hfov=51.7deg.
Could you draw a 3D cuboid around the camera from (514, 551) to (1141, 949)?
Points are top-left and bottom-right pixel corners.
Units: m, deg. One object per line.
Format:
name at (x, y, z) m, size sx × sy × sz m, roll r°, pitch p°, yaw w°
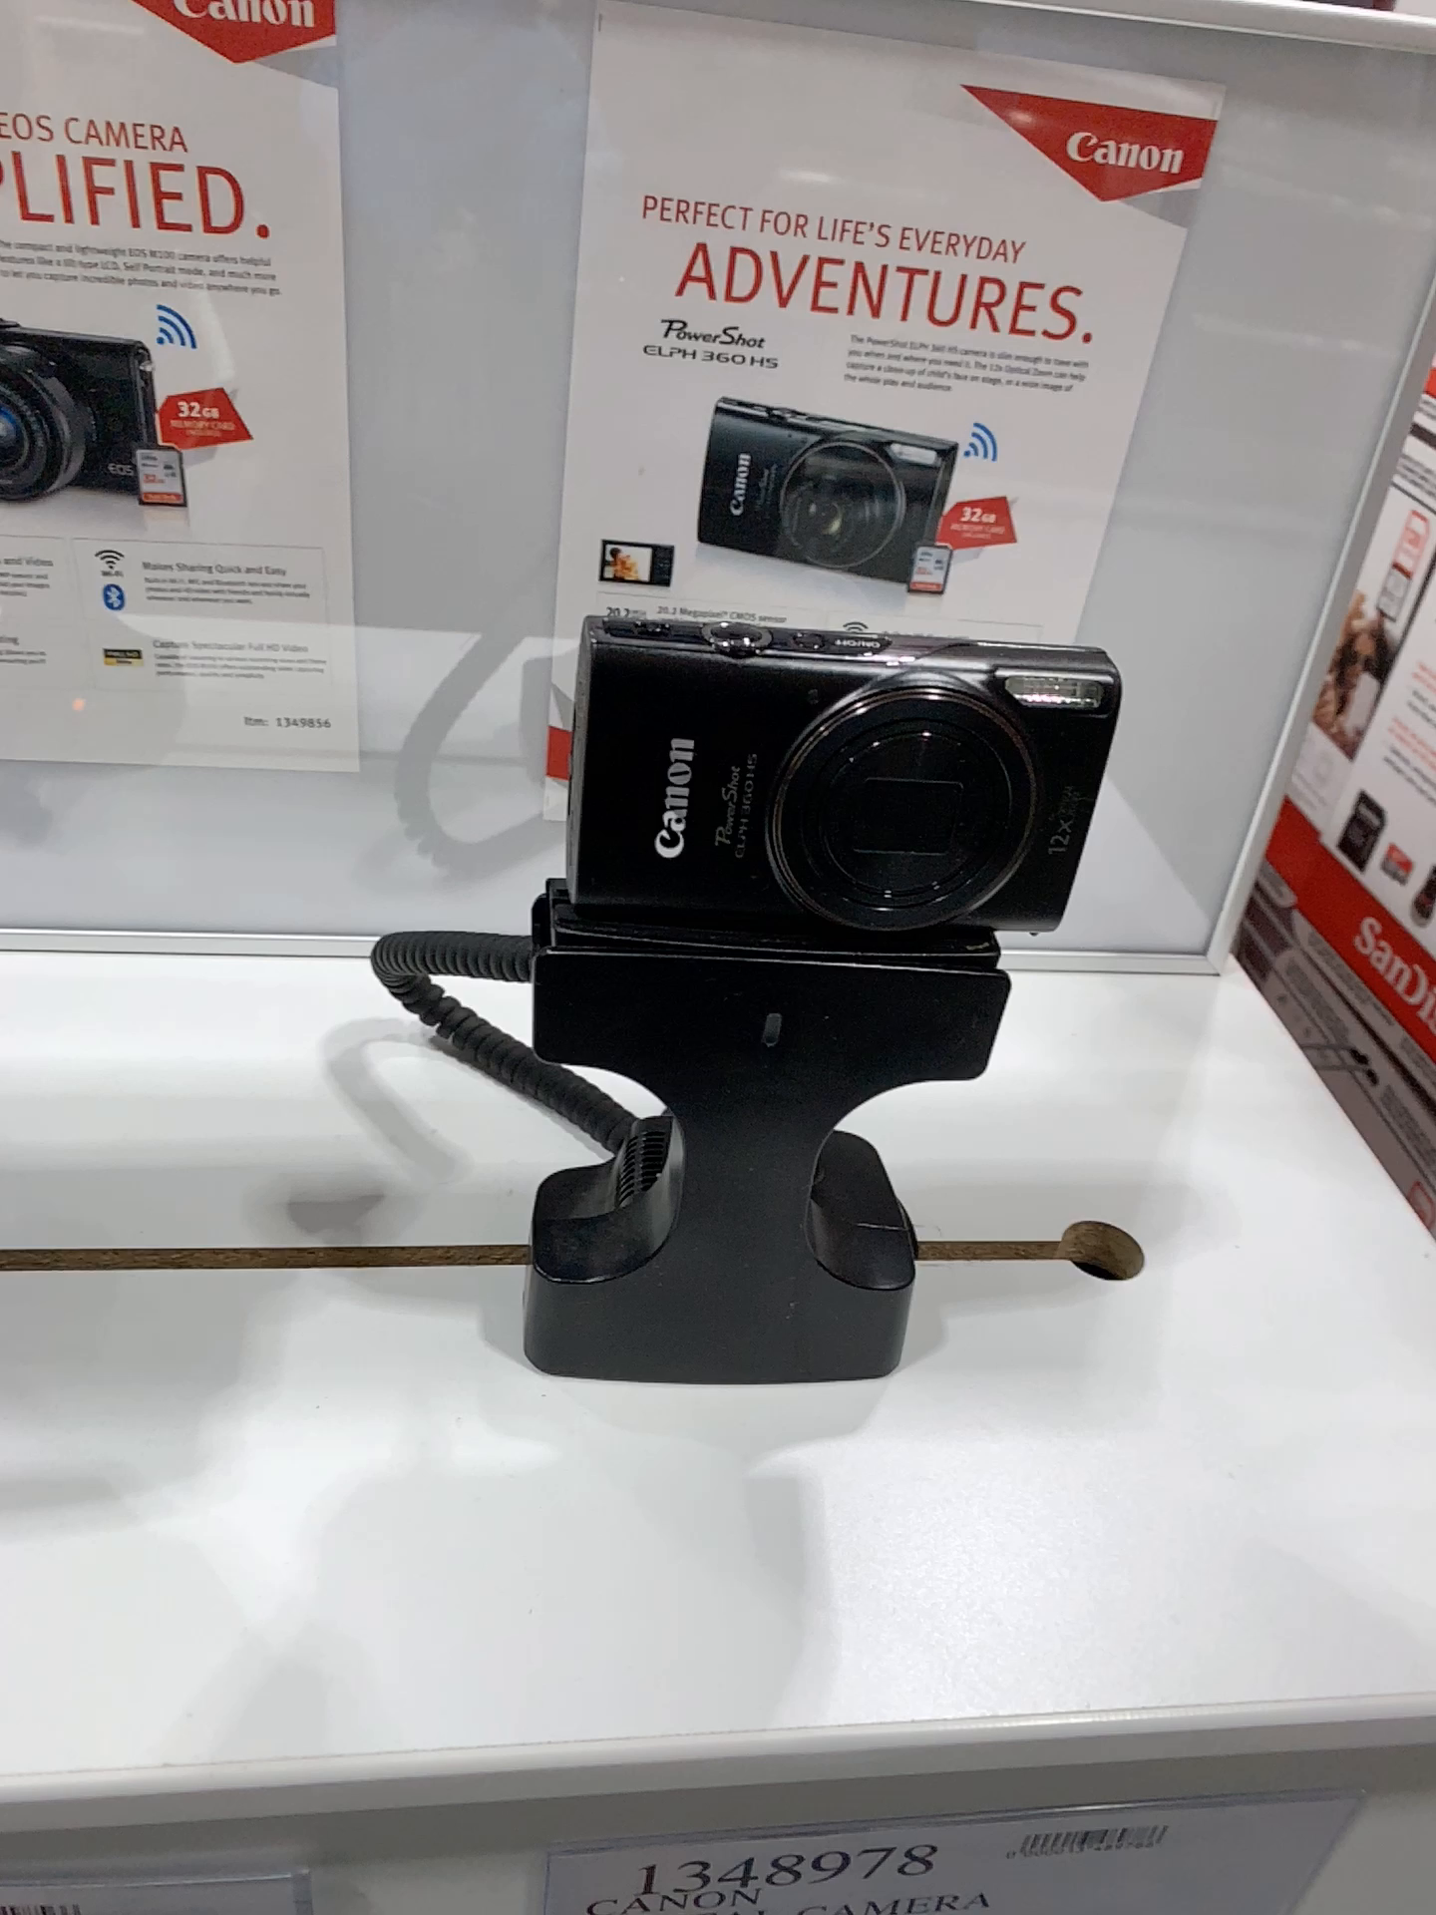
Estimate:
camera at (0.017, -0.040, 0.293) m, size 0.110 × 0.060 × 0.040 m, roll 3°, pitch 33°, yaw -7°
